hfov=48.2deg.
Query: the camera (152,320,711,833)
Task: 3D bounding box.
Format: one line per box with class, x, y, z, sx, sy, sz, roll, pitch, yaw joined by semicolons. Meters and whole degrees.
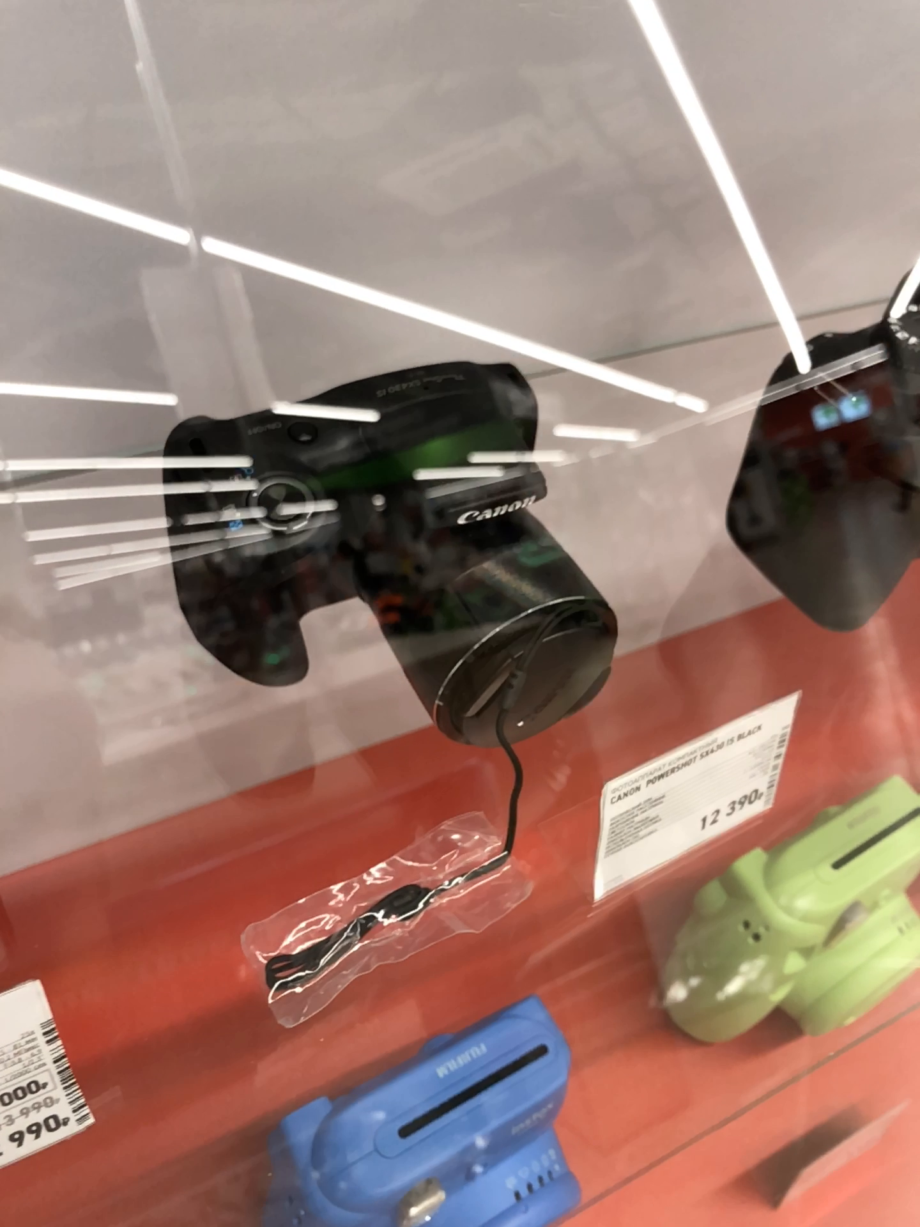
camera;-0.013;-0.014;0.284;0.113;0.080;0.086;-17;54;-23
